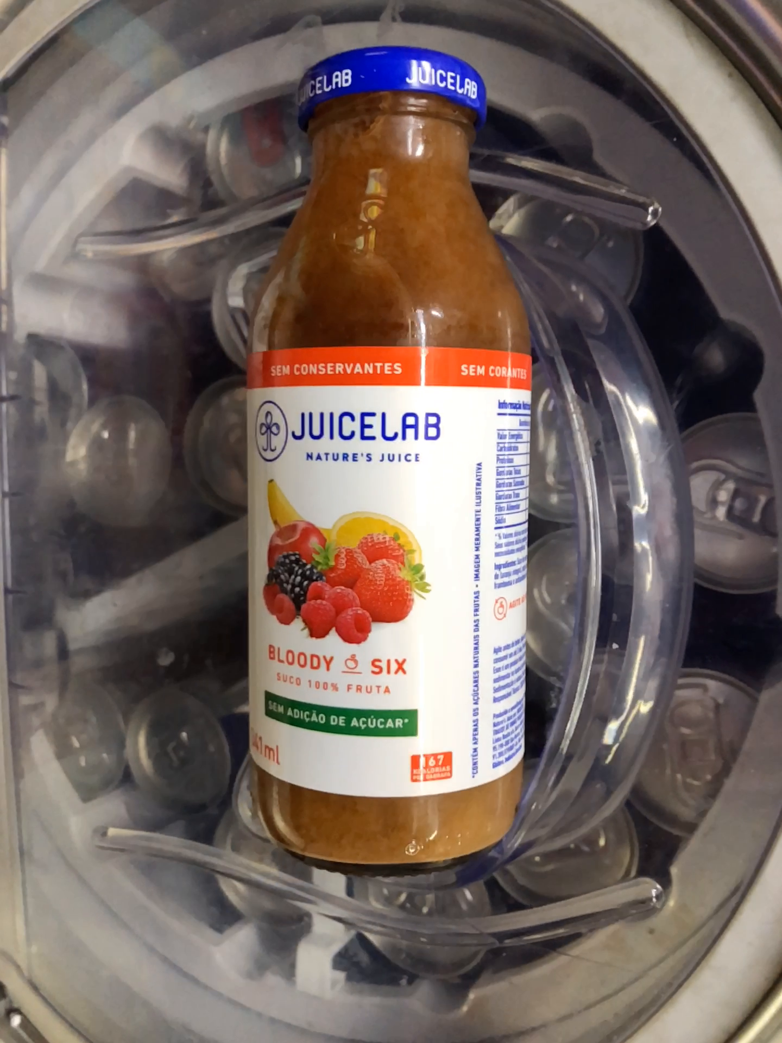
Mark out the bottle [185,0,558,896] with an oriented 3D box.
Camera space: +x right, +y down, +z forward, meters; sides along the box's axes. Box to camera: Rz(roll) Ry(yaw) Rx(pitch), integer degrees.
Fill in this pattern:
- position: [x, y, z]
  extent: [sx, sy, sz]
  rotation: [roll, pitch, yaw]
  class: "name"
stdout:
- position: [-0.001, -0.025, 0.203]
  extent: [0.070, 0.060, 0.190]
  rotation: [2, 94, 15]
  class: "bottle"
